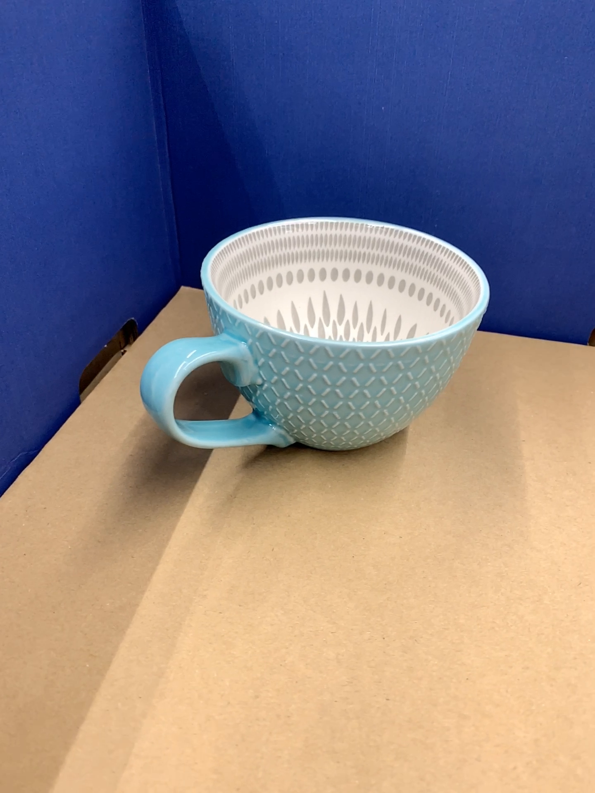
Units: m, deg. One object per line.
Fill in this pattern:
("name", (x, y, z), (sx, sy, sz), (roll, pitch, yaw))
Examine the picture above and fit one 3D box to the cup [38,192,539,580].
("cup", (-0.002, -0.022, 0.250), (0.152, 0.059, 0.112), (-26, 48, -33))
